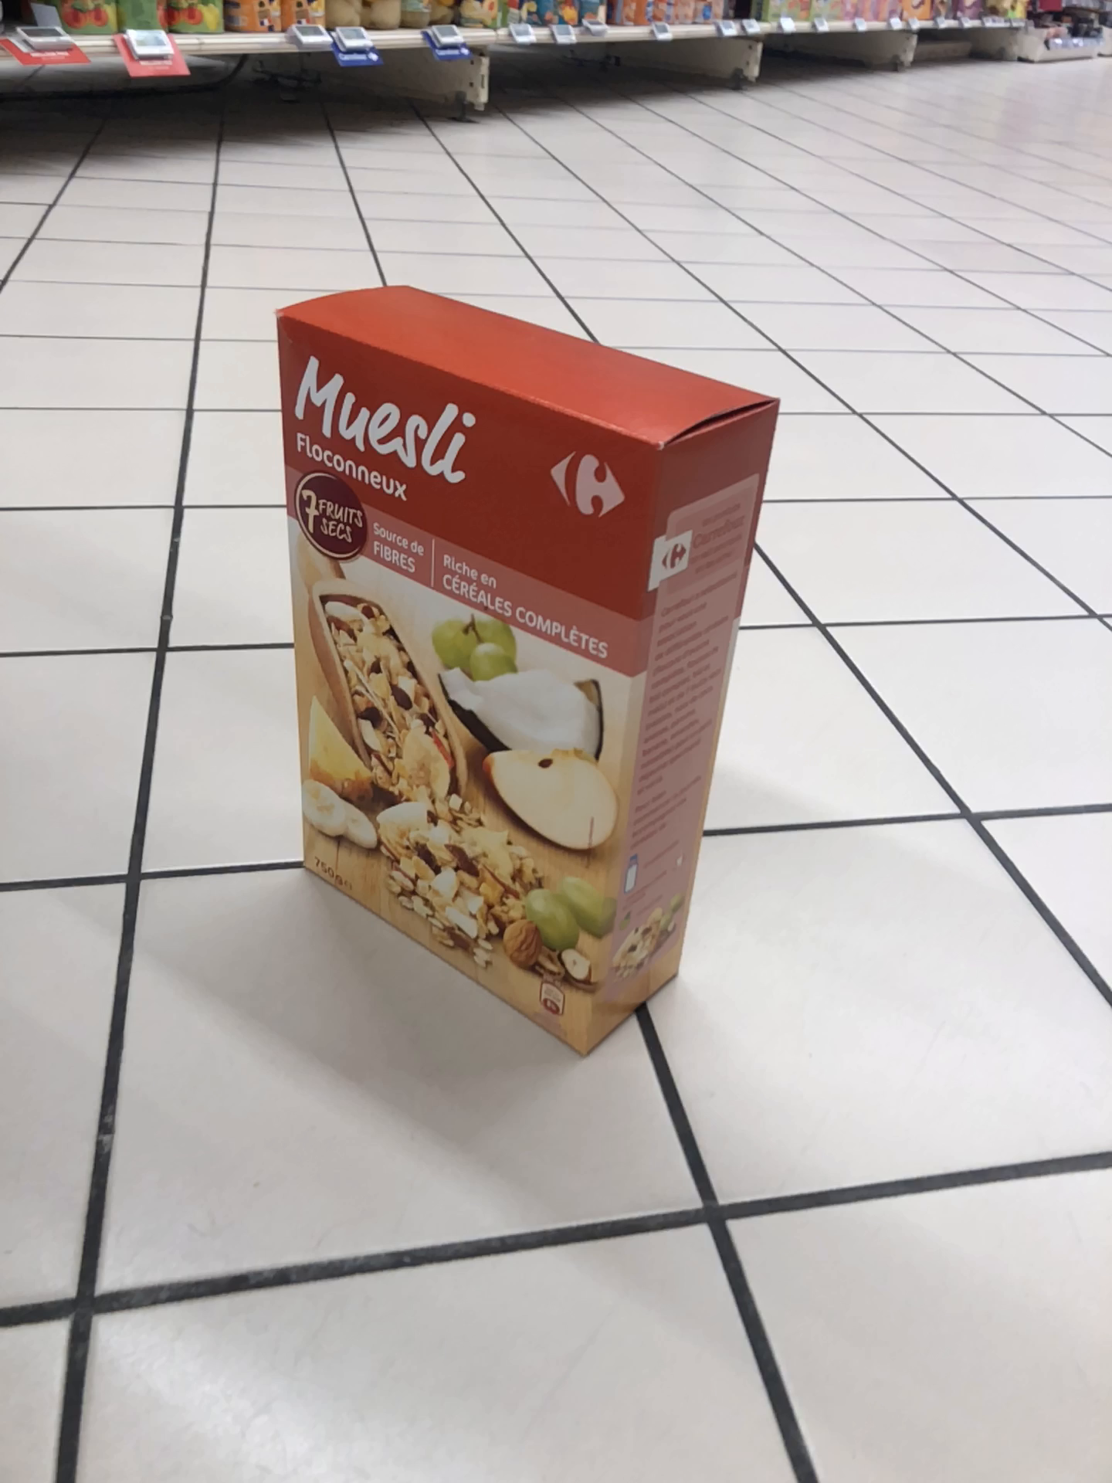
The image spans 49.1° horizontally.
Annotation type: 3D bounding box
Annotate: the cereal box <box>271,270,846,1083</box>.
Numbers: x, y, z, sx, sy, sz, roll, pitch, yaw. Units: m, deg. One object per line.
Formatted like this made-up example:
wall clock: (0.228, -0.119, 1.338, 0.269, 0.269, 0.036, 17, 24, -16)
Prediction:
cereal box: (-0.012, -0.026, 0.447, 0.170, 0.238, 0.080, 28, 39, 31)
